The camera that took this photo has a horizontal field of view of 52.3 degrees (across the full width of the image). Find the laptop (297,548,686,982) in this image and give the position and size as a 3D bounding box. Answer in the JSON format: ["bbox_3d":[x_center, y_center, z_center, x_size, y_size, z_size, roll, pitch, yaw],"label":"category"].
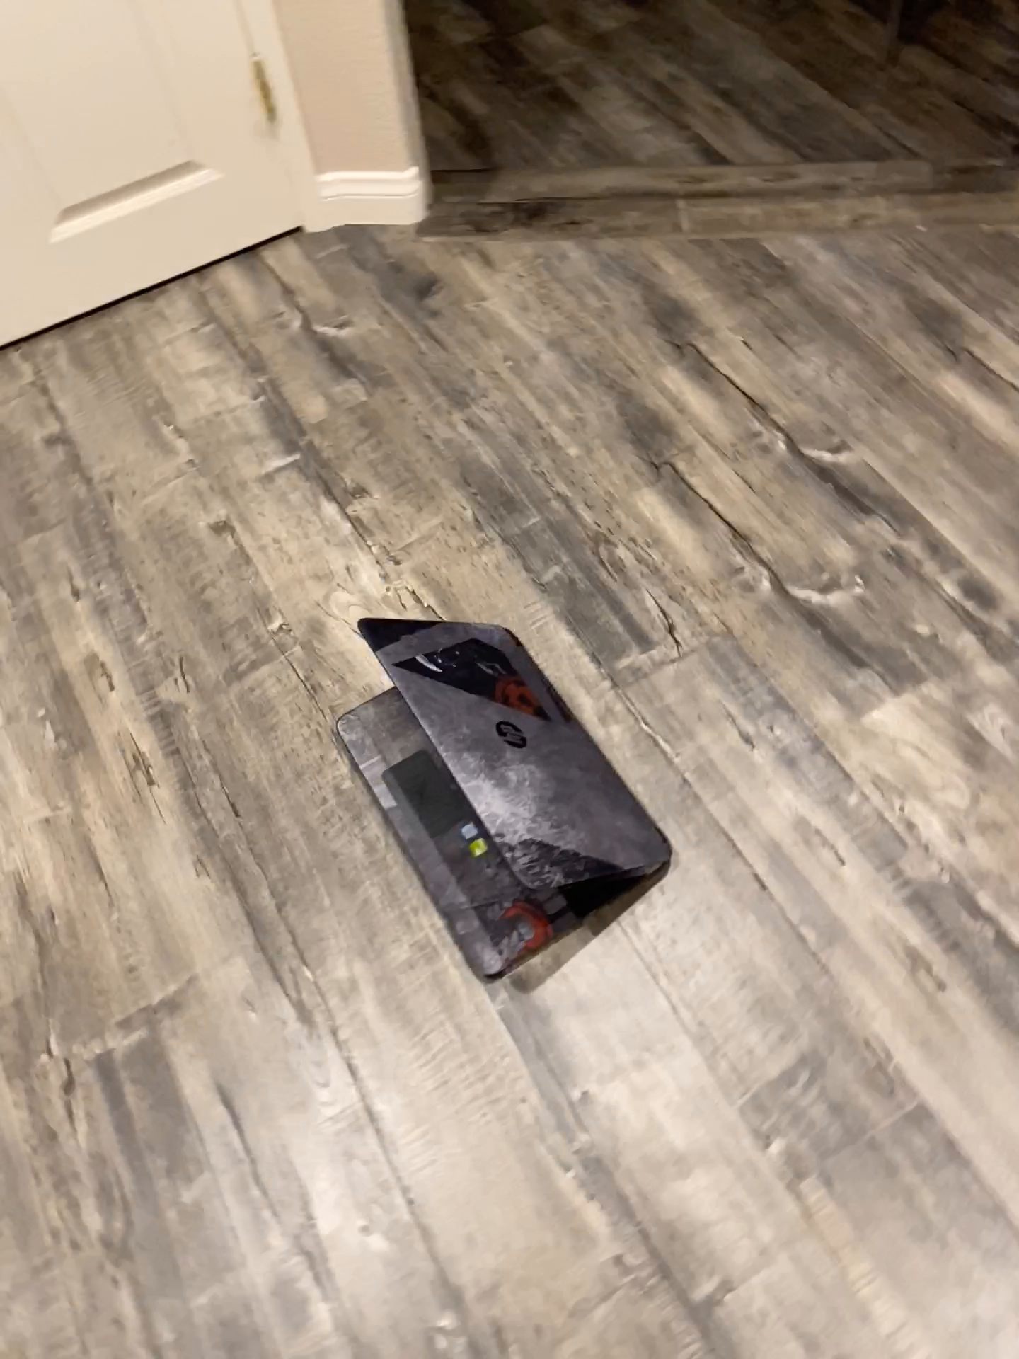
[{"bbox_3d":[-0.023,0.087,1.157,0.250,0.177,0.375,-30,60,-12],"label":"laptop"}]
